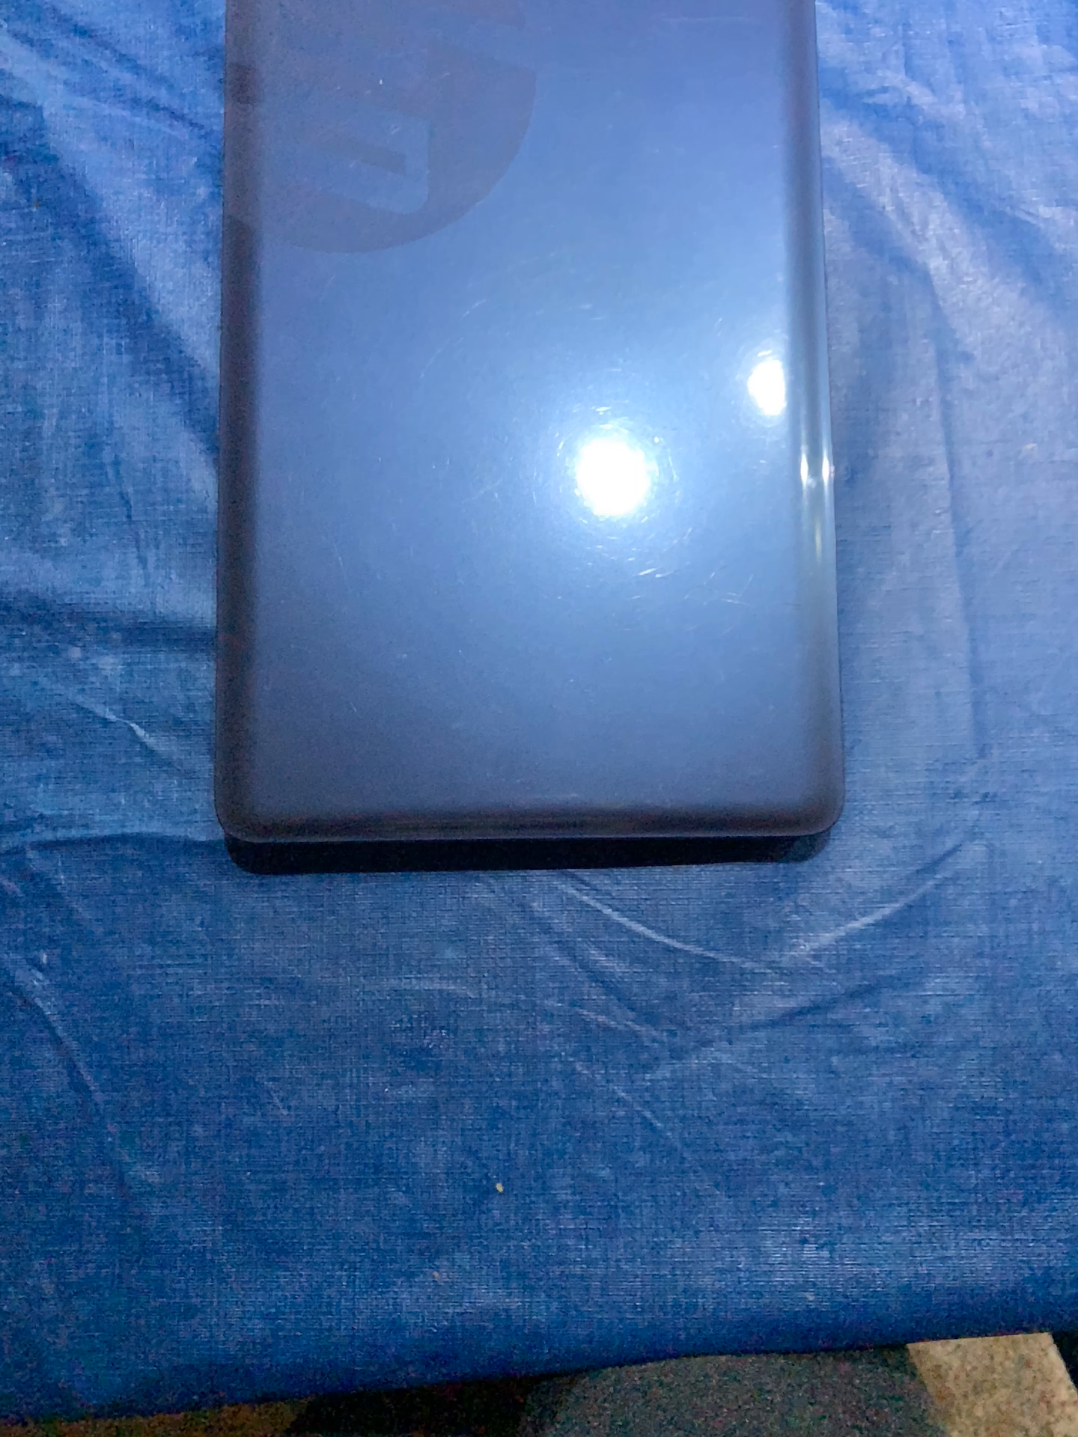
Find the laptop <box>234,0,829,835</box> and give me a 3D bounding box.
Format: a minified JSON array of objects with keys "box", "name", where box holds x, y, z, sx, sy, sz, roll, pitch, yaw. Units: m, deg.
[{"box":[-0.005,-0.137,0.456,0.235,0.009,0.363,-1,86,1],"name":"laptop"}]
